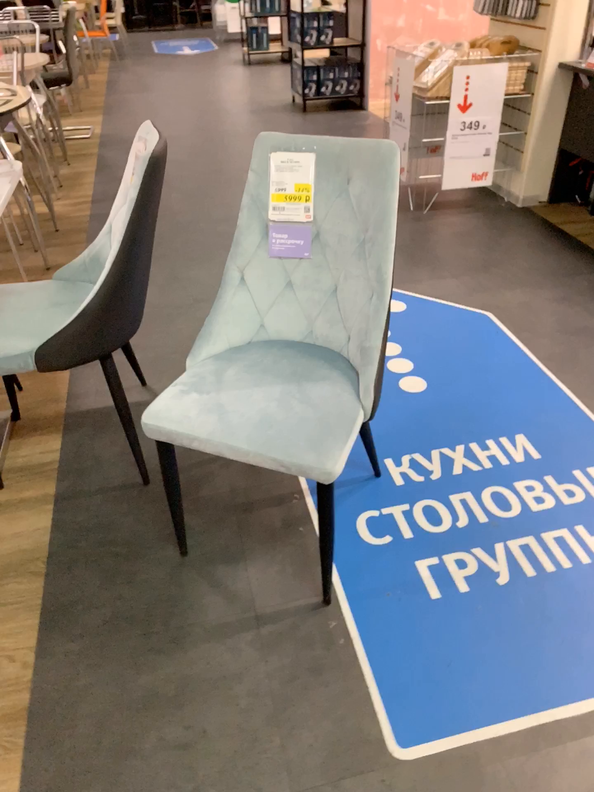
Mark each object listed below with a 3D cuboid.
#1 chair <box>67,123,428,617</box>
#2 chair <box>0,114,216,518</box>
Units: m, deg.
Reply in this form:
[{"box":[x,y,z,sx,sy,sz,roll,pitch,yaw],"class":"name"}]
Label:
[{"box":[-0.040,-0.070,1.380,0.470,0.885,0.553,12,38,19],"class":"chair"},{"box":[-0.638,-0.234,1.713,0.665,0.880,0.572,-9,36,-9],"class":"chair"}]
